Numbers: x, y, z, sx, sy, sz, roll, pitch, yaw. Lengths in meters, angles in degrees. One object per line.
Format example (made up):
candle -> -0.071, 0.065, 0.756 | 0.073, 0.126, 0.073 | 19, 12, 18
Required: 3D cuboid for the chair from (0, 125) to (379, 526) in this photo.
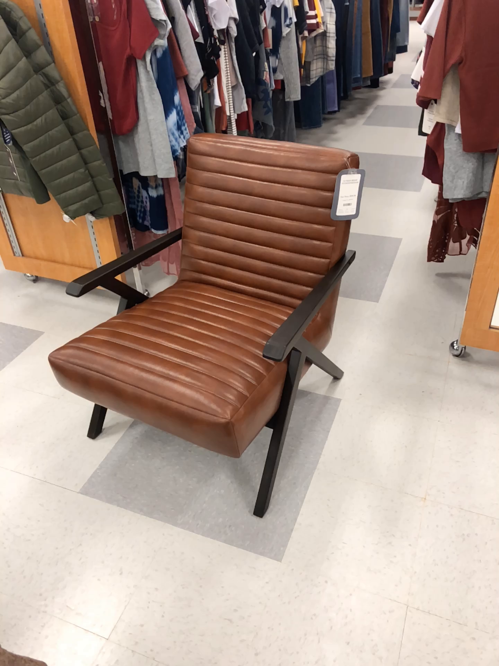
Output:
chair -> -0.102, -0.079, 1.561 | 0.676, 0.756, 0.680 | 17, 41, 26
